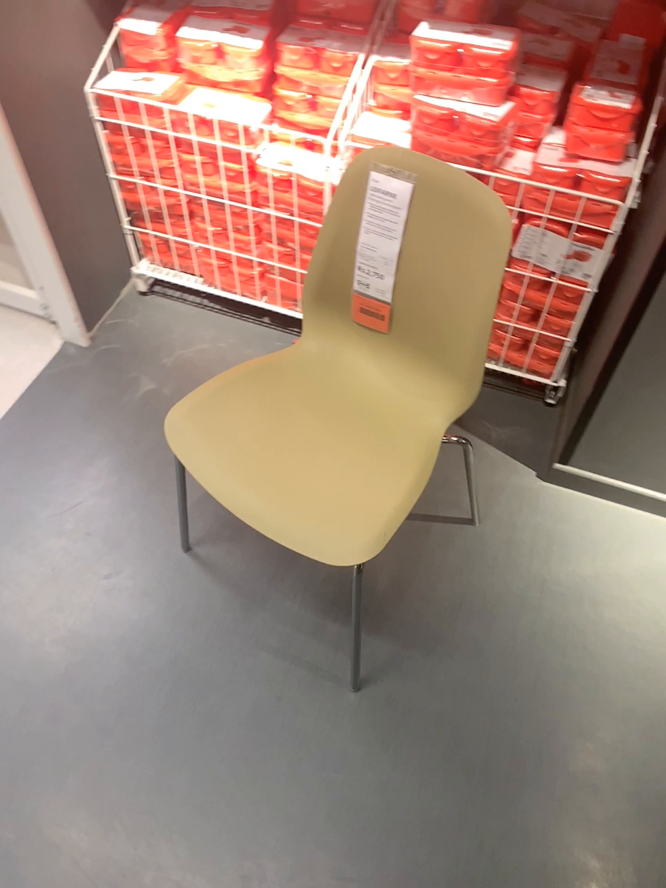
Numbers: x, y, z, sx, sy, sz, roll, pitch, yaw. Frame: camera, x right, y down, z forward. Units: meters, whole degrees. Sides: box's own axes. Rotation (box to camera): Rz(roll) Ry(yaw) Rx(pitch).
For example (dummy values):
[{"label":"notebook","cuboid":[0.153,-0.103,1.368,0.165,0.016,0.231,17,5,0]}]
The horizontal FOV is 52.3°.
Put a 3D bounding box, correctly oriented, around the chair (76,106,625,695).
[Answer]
[{"label":"chair","cuboid":[0.032,-0.047,1.197,0.501,0.728,0.551,34,60,22]}]
